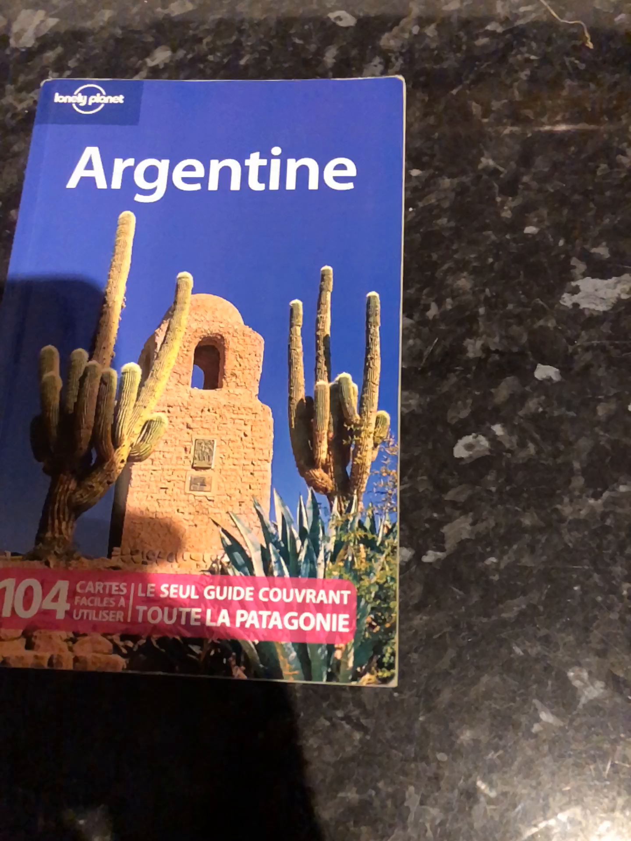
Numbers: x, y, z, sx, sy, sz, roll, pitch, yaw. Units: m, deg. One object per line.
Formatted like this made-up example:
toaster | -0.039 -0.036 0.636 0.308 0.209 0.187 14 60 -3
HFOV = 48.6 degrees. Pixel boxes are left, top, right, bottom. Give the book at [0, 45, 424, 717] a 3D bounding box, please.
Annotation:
book | -0.033 -0.024 0.224 0.130 0.030 0.210 2 74 4
